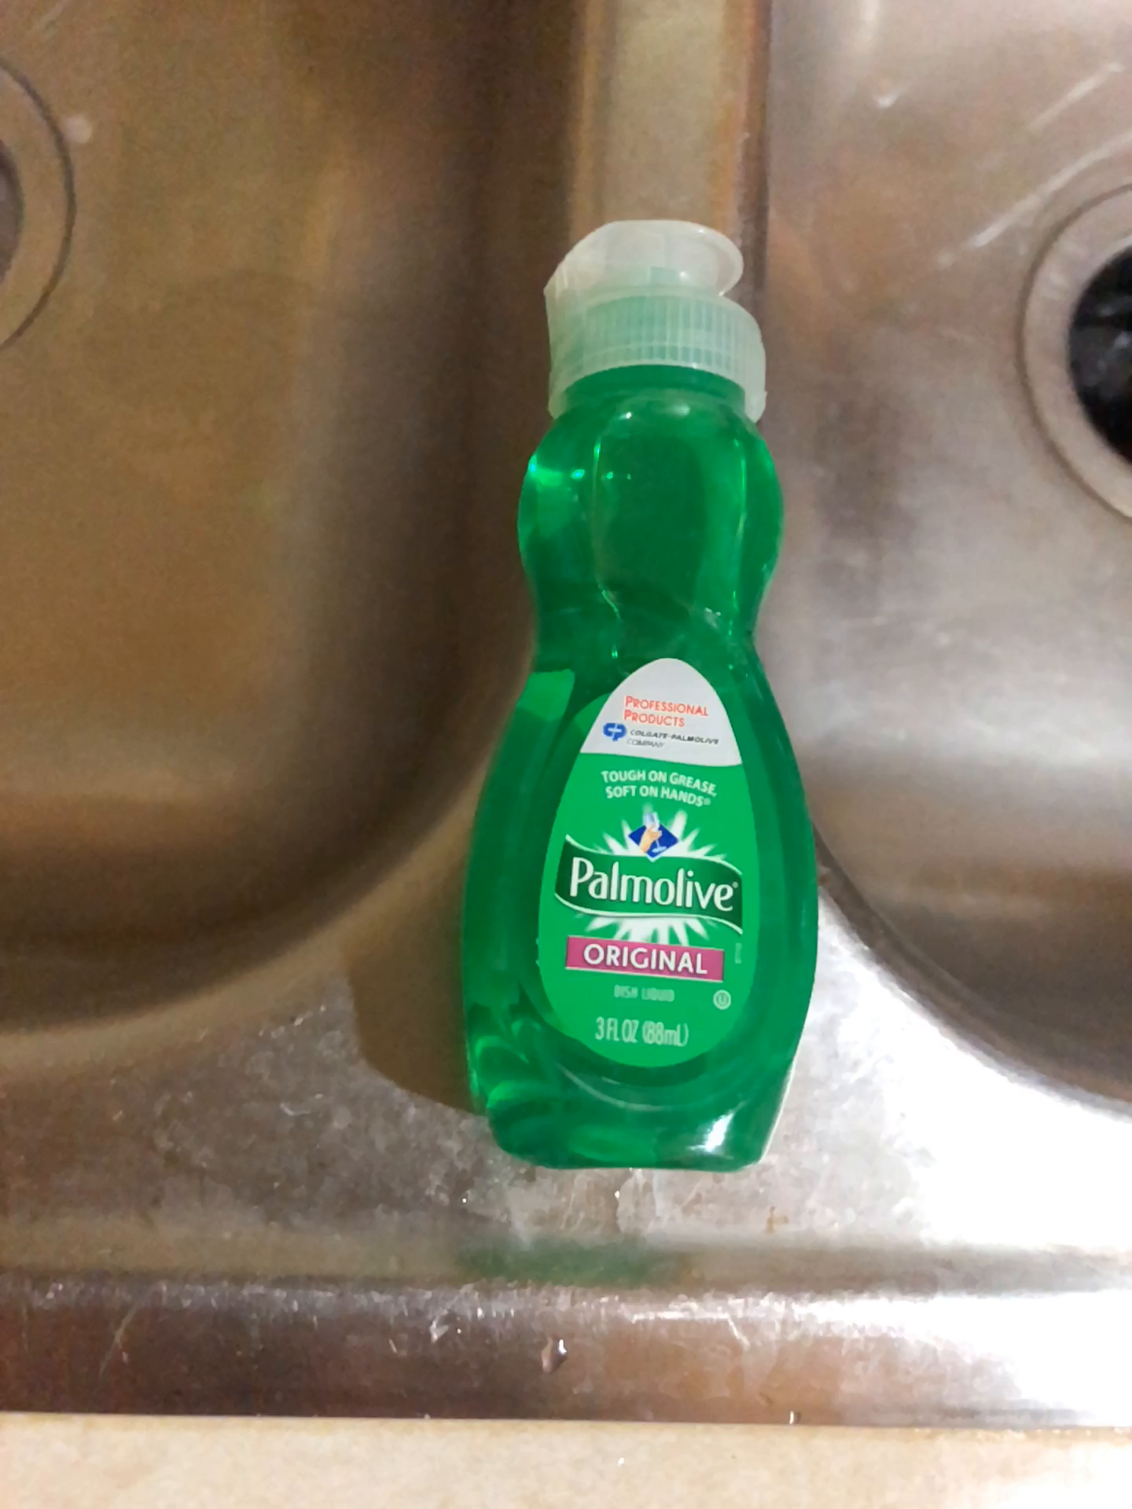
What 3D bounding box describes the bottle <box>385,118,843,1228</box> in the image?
[{"bbox_3d":[0.006,-0.011,0.164,0.050,0.030,0.130,3,80,-6],"label":"bottle"}]
